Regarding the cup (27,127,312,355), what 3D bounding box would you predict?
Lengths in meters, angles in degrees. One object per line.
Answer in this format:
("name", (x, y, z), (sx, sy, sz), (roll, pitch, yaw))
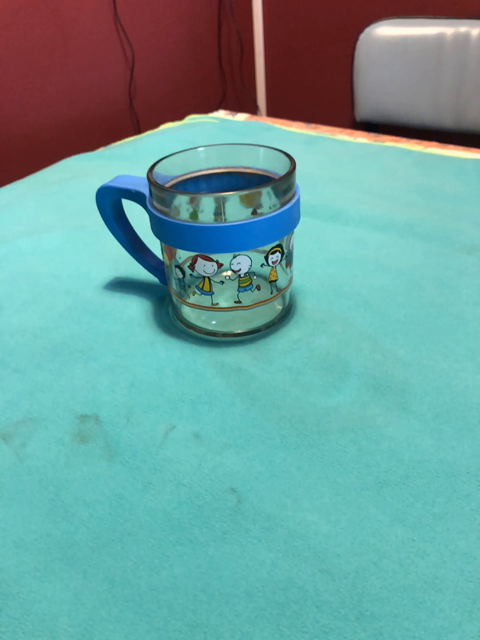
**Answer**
("cup", (-0.034, -0.055, 0.321), (0.130, 0.089, 0.091), (12, 37, 22))
